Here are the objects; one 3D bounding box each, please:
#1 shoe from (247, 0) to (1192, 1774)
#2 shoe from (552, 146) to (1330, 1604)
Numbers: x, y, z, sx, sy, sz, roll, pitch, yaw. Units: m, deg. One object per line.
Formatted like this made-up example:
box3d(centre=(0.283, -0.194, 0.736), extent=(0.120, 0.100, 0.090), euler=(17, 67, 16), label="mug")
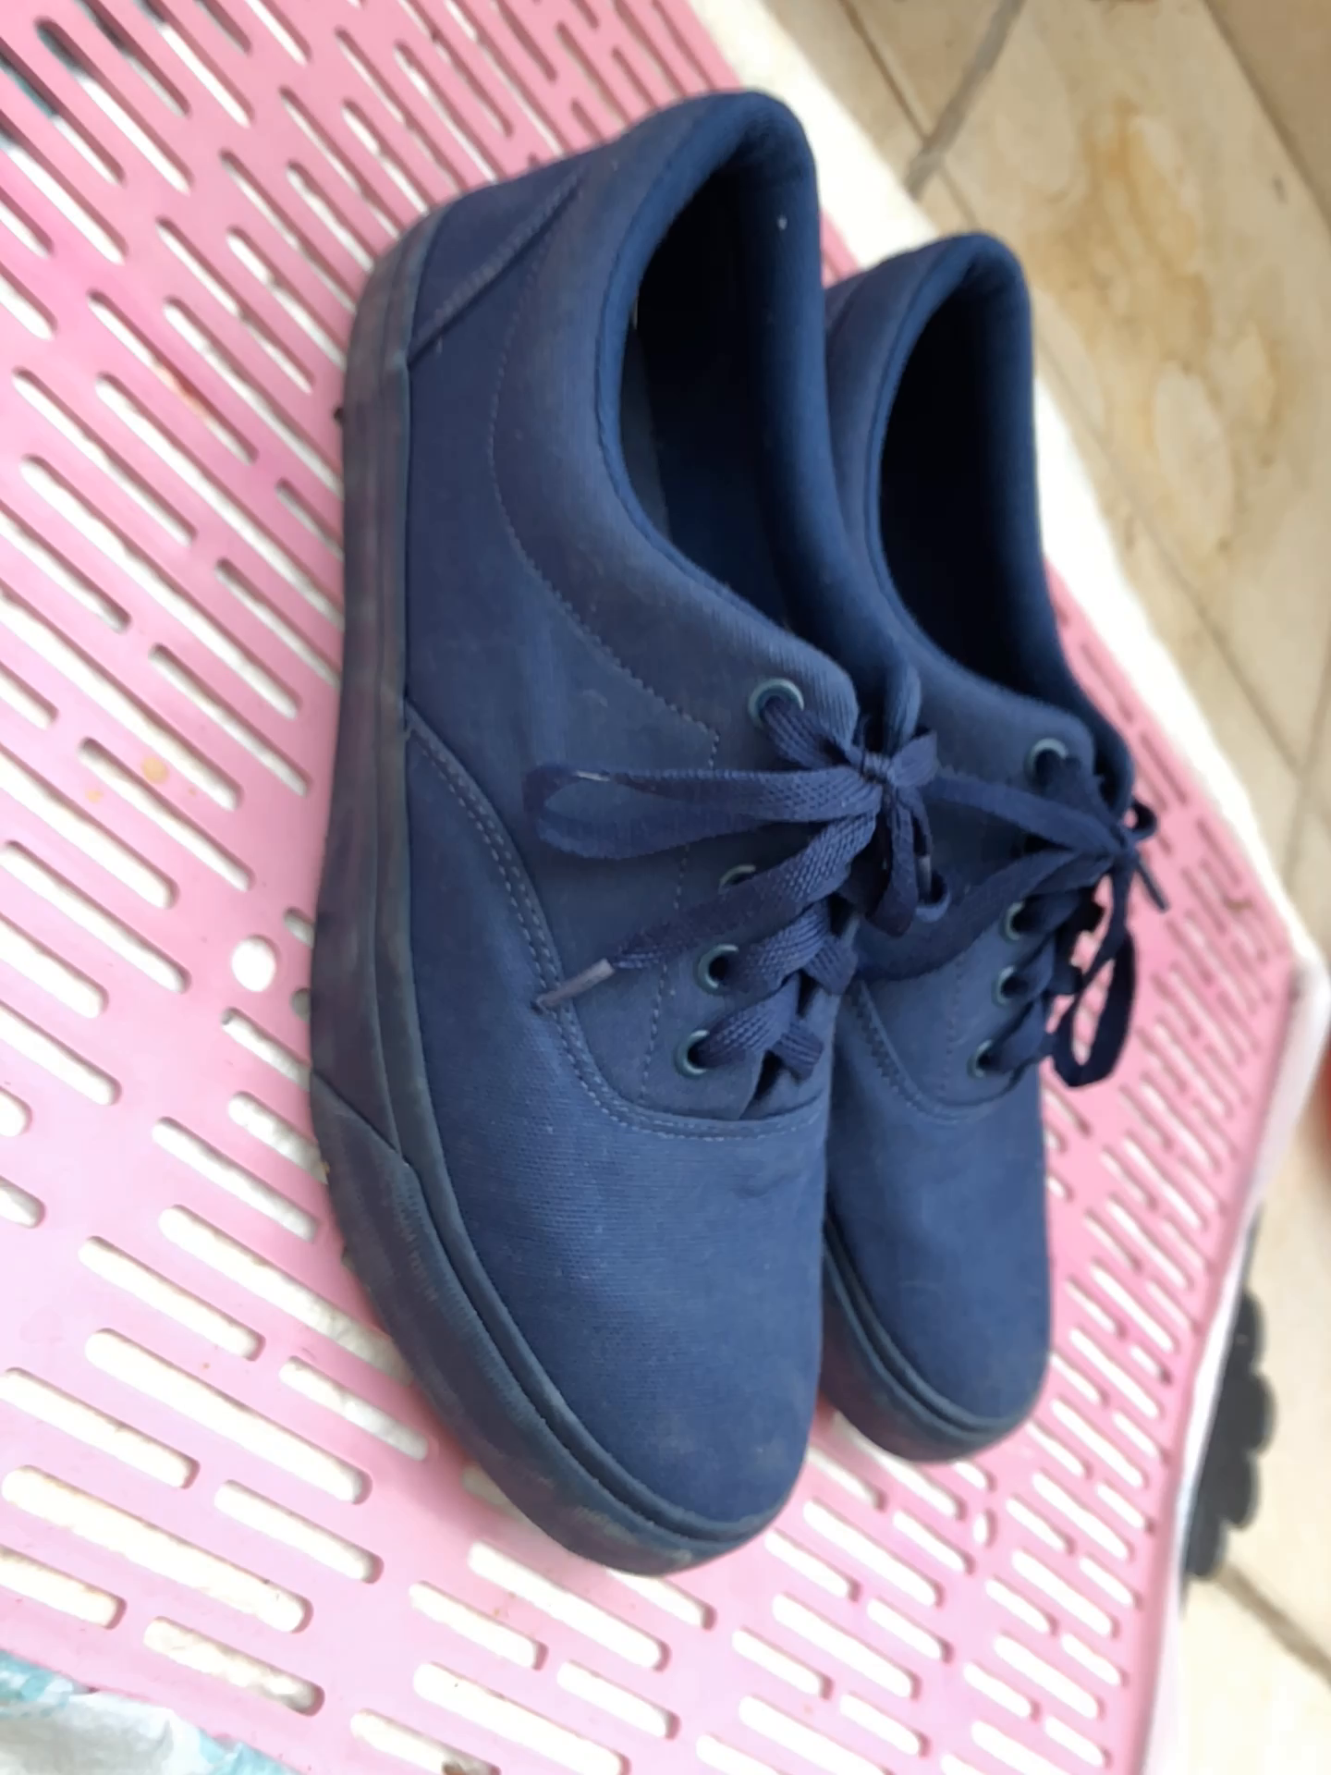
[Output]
box3d(centre=(0.009, -0.009, 0.272), extent=(0.108, 0.099, 0.270), euler=(-3, 86, -46), label="shoe")
box3d(centre=(0.070, -0.003, 0.344), extent=(0.108, 0.099, 0.270), euler=(-12, 92, -46), label="shoe")
